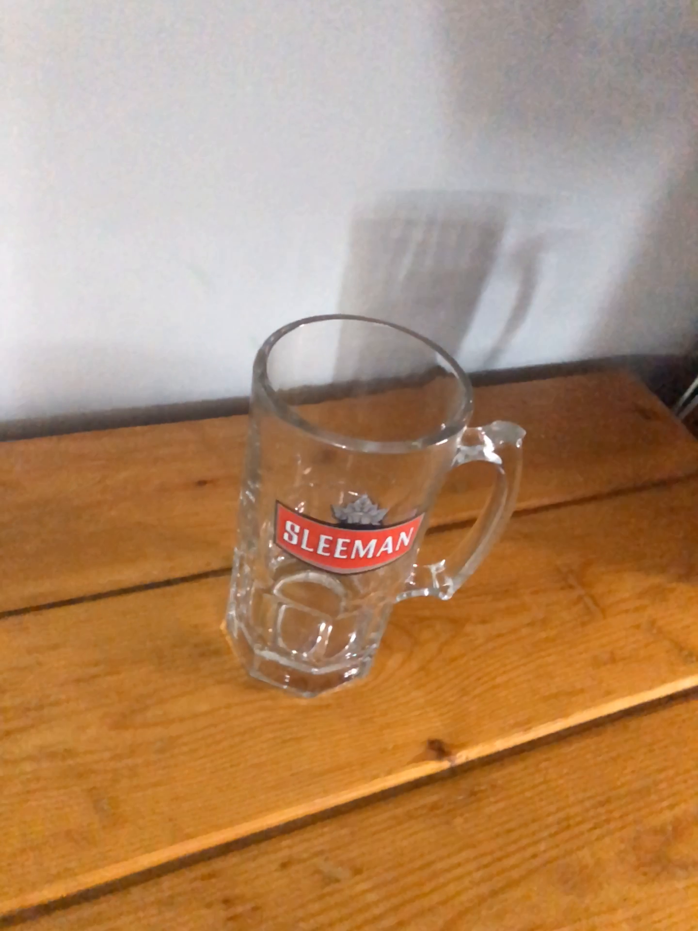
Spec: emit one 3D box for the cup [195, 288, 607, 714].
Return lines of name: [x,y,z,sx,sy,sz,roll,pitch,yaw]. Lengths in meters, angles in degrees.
cup: [0.006,0.033,0.419,0.160,0.209,0.110,4,45,-11]
